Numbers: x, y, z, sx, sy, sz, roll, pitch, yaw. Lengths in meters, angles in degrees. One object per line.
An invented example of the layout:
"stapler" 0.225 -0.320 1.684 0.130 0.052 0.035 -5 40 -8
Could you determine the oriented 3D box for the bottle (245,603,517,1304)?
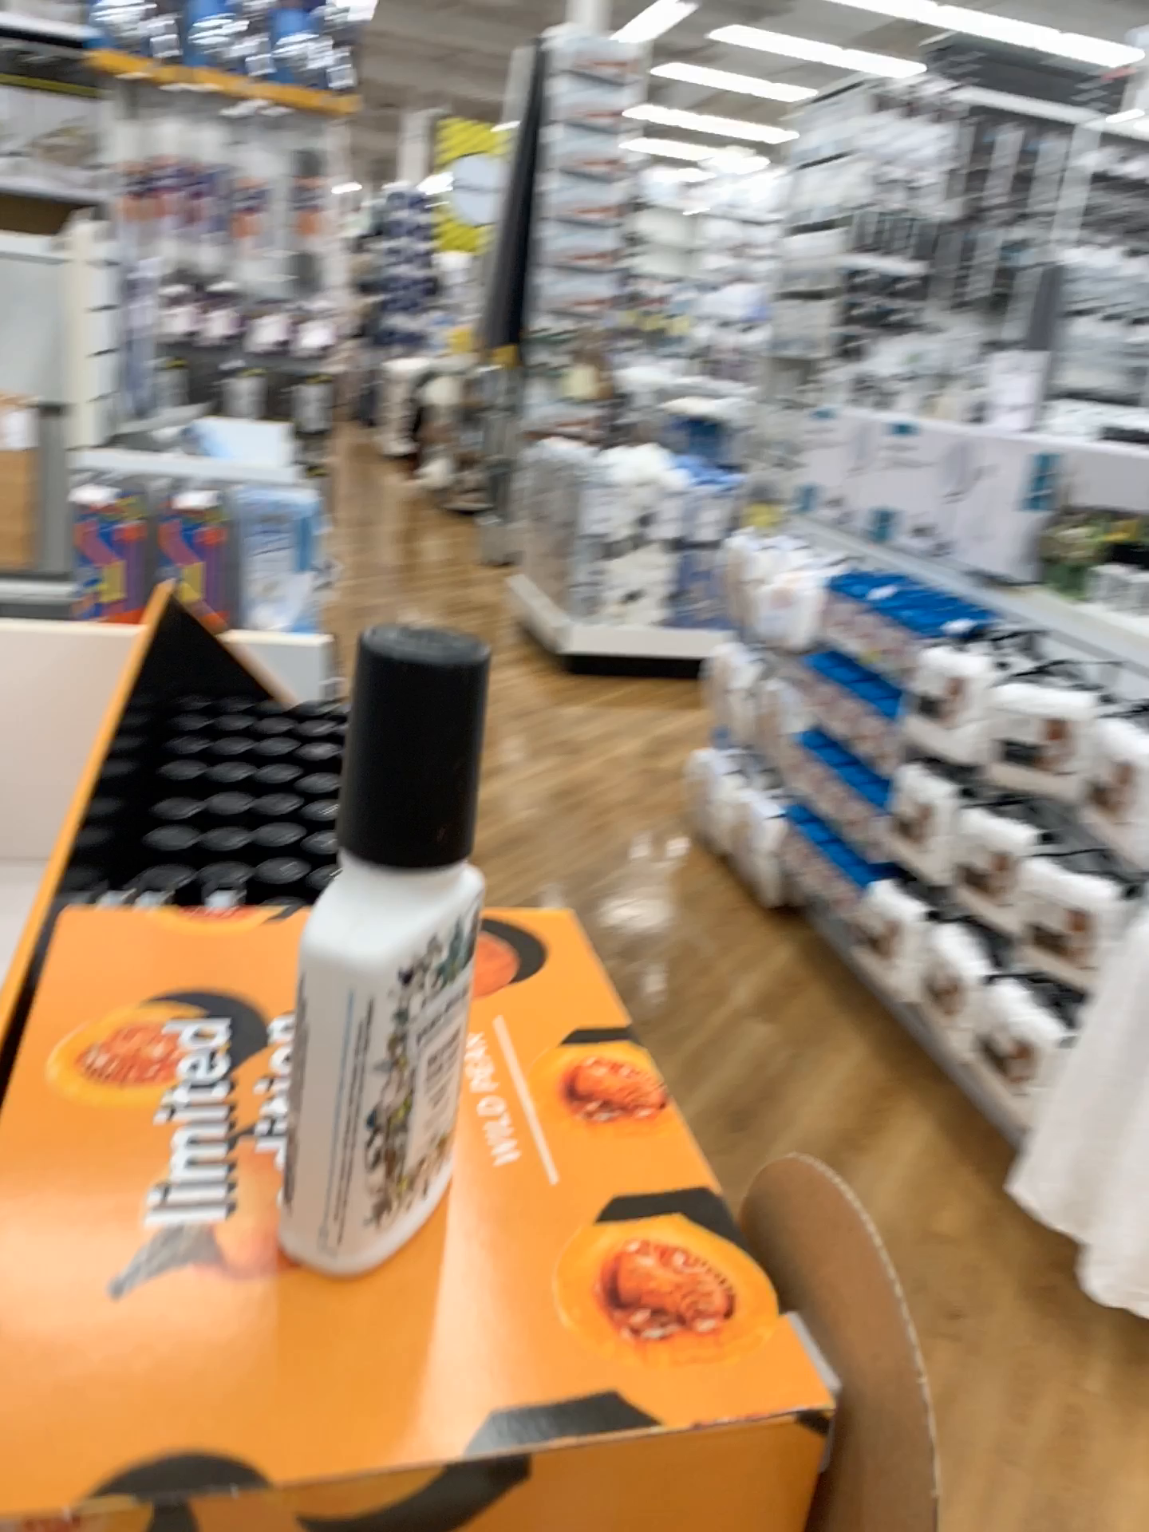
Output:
"bottle" -0.046 0.043 0.279 0.033 0.151 0.055 12 20 16
